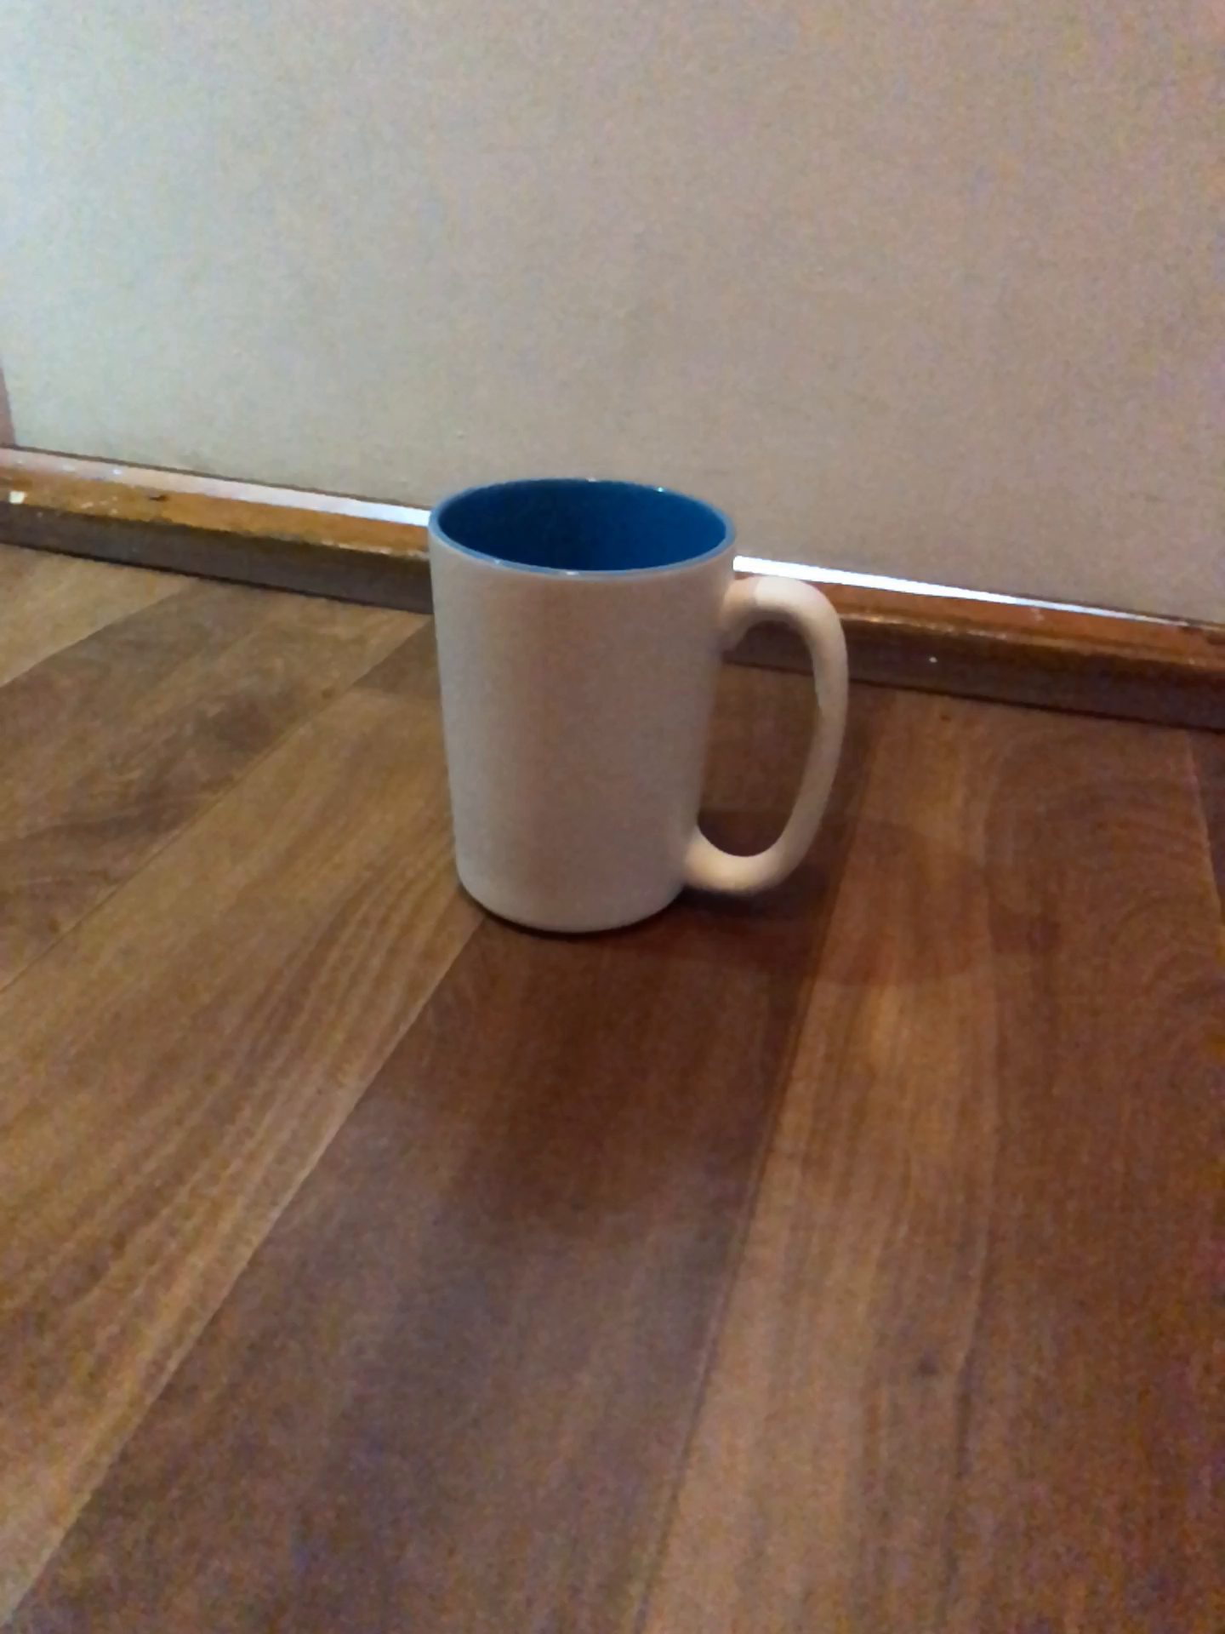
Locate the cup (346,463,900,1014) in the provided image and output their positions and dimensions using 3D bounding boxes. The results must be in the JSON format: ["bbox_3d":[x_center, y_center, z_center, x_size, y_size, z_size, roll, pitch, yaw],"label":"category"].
[{"bbox_3d":[0.004,-0.029,0.395,0.129,0.112,0.089,12,31,16],"label":"cup"}]
